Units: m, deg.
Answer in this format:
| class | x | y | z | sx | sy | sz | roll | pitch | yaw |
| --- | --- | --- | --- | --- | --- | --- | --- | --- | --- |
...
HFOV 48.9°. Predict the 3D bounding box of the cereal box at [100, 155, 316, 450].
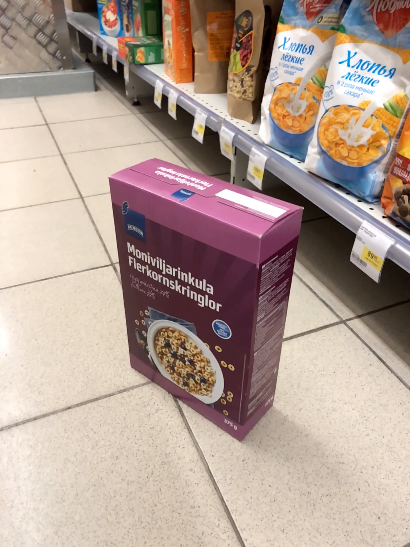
| class | x | y | z | sx | sy | sz | roll | pitch | yaw |
| --- | --- | --- | --- | --- | --- | --- | --- | --- | --- |
| cereal box | -0.007 | 0.033 | 0.525 | 0.210 | 0.278 | 0.080 | 26 | 41 | 31 |
